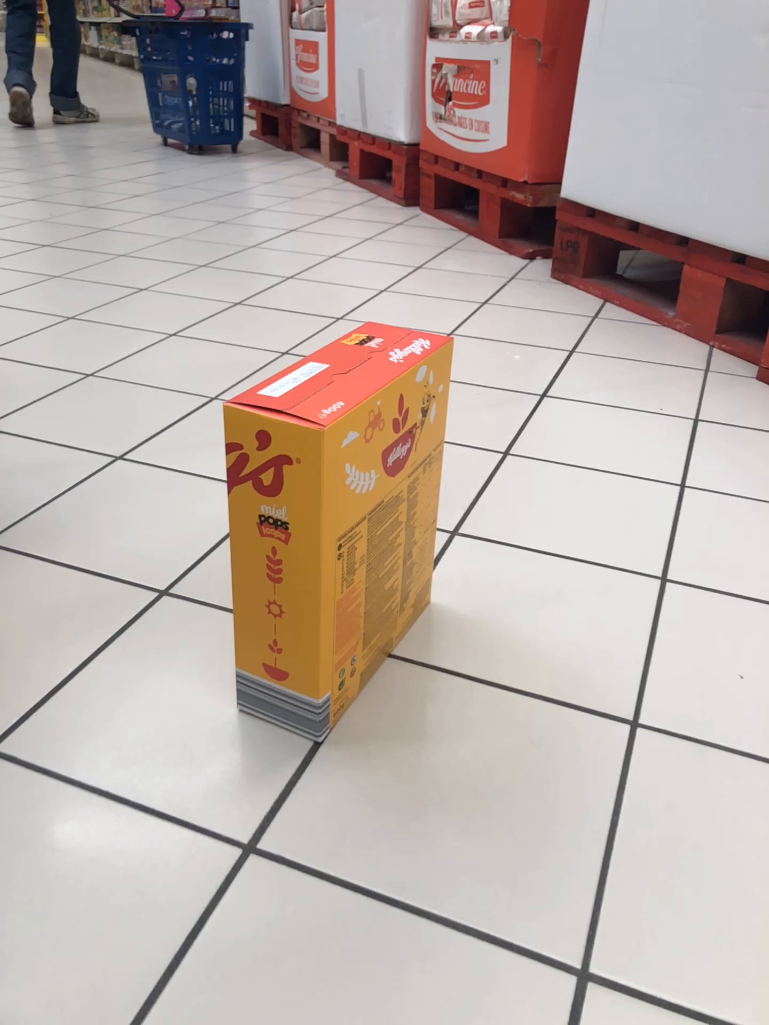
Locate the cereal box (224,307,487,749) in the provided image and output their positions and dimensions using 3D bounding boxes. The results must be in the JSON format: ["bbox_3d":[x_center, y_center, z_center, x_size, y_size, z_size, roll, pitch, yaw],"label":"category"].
[{"bbox_3d":[-0.012,0.002,0.598,0.090,0.239,0.191,14,31,22],"label":"cereal box"}]
